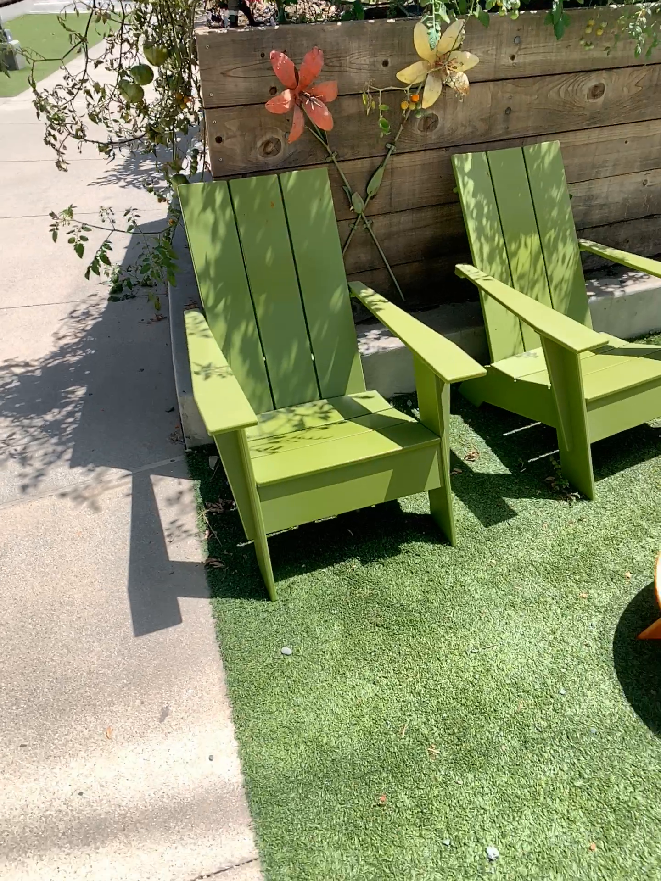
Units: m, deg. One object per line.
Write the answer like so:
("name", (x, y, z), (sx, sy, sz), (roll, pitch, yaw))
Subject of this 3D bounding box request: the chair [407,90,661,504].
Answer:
("chair", (0.806, -0.506, 2.233), (0.680, 0.985, 0.894), (-16, 24, -14))

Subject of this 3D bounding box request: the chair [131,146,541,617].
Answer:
("chair", (-0.047, -0.242, 1.798), (0.680, 0.835, 0.905), (-14, 33, -16))
